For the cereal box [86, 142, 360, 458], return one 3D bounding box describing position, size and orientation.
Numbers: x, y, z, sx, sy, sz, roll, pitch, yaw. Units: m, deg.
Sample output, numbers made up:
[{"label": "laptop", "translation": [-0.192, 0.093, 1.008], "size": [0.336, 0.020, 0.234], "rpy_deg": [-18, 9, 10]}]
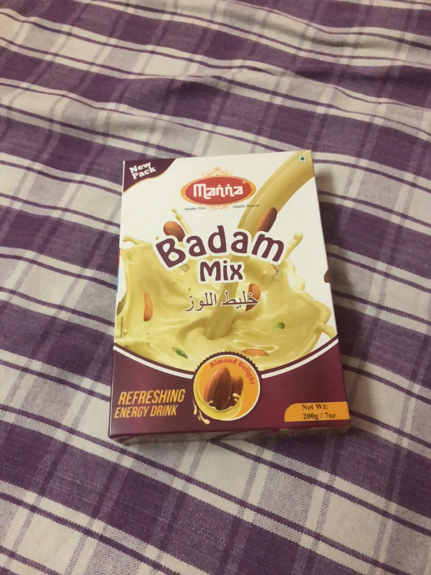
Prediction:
[{"label": "cereal box", "translation": [0.001, 0.003, 0.288], "size": [0.130, 0.050, 0.180], "rpy_deg": [-2, 65, 0]}]
